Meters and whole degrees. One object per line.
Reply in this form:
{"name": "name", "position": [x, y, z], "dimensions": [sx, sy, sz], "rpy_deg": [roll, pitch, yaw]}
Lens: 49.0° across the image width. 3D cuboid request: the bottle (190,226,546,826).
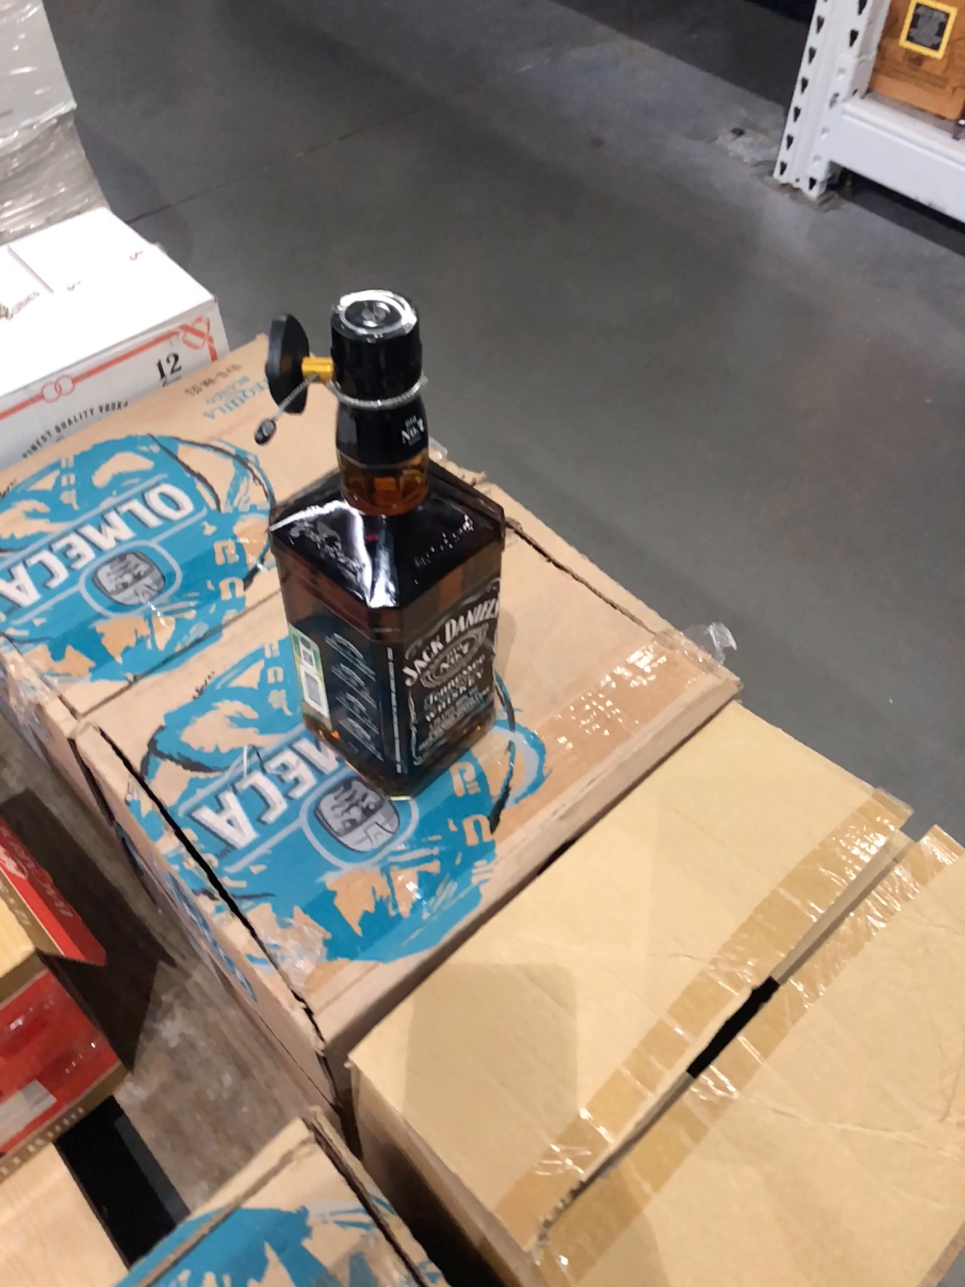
{"name": "bottle", "position": [-0.053, -0.045, 0.584], "dimensions": [0.110, 0.308, 0.110], "rpy_deg": [1, 51, -1]}
